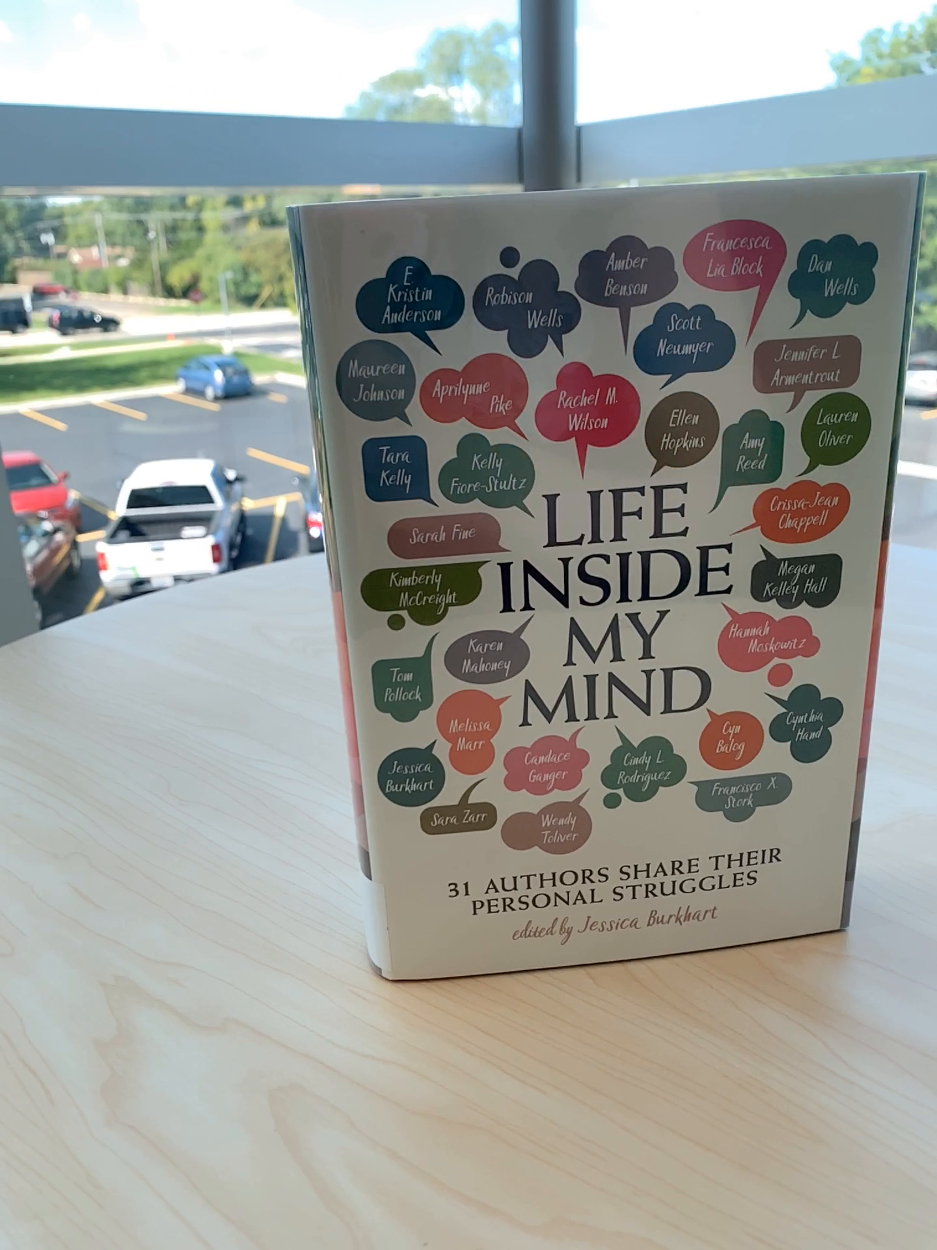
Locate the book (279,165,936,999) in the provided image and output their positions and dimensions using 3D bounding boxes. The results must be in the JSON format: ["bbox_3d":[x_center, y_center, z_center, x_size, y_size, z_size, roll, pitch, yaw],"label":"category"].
[{"bbox_3d":[0.037,-0.002,0.265,0.150,0.218,0.030,-5,23,-5],"label":"book"}]
